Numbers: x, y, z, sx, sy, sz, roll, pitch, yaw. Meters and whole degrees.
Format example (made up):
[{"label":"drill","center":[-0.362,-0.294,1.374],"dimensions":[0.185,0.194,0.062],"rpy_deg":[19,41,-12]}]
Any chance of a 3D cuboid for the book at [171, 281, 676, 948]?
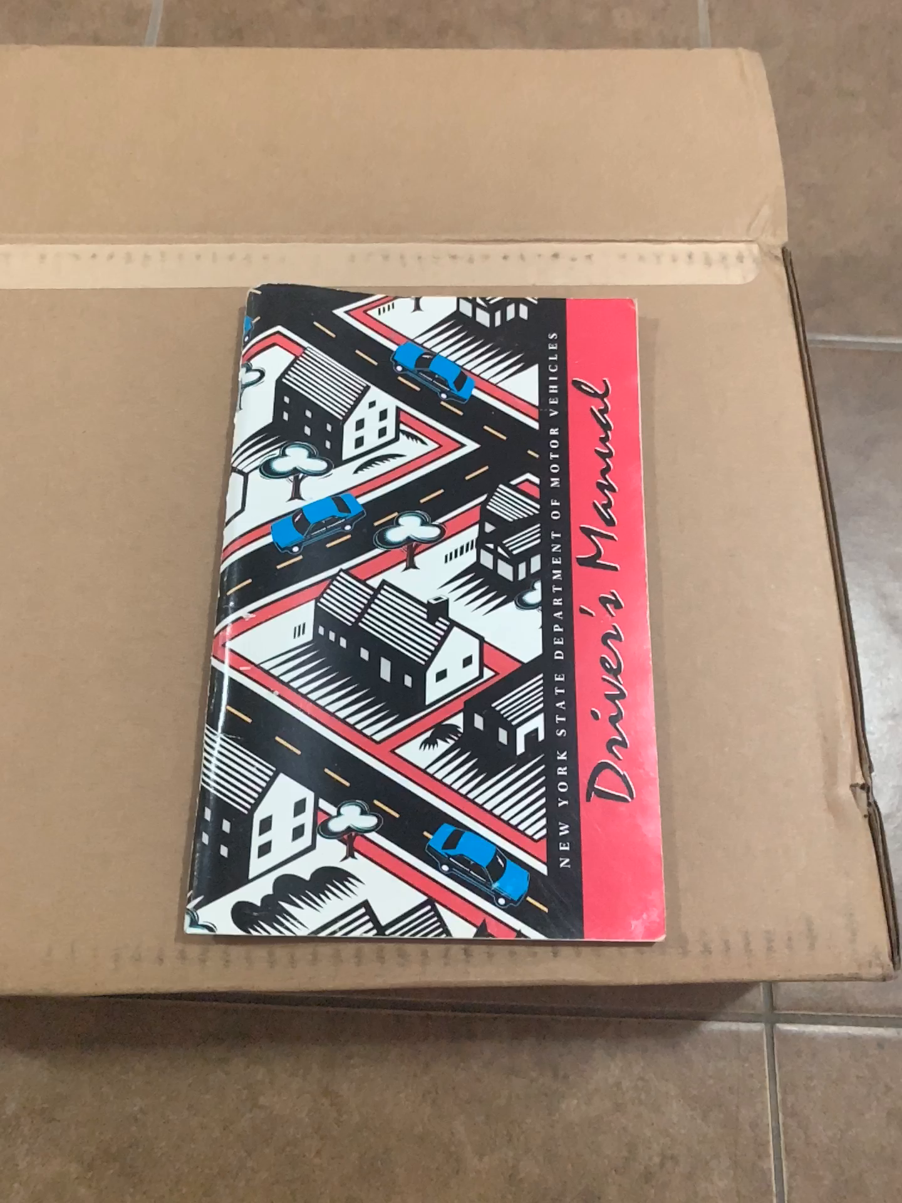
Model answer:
[{"label":"book","center":[-0.005,-0.006,0.284],"dimensions":[0.133,0.013,0.207],"rpy_deg":[1,71,-1]}]
